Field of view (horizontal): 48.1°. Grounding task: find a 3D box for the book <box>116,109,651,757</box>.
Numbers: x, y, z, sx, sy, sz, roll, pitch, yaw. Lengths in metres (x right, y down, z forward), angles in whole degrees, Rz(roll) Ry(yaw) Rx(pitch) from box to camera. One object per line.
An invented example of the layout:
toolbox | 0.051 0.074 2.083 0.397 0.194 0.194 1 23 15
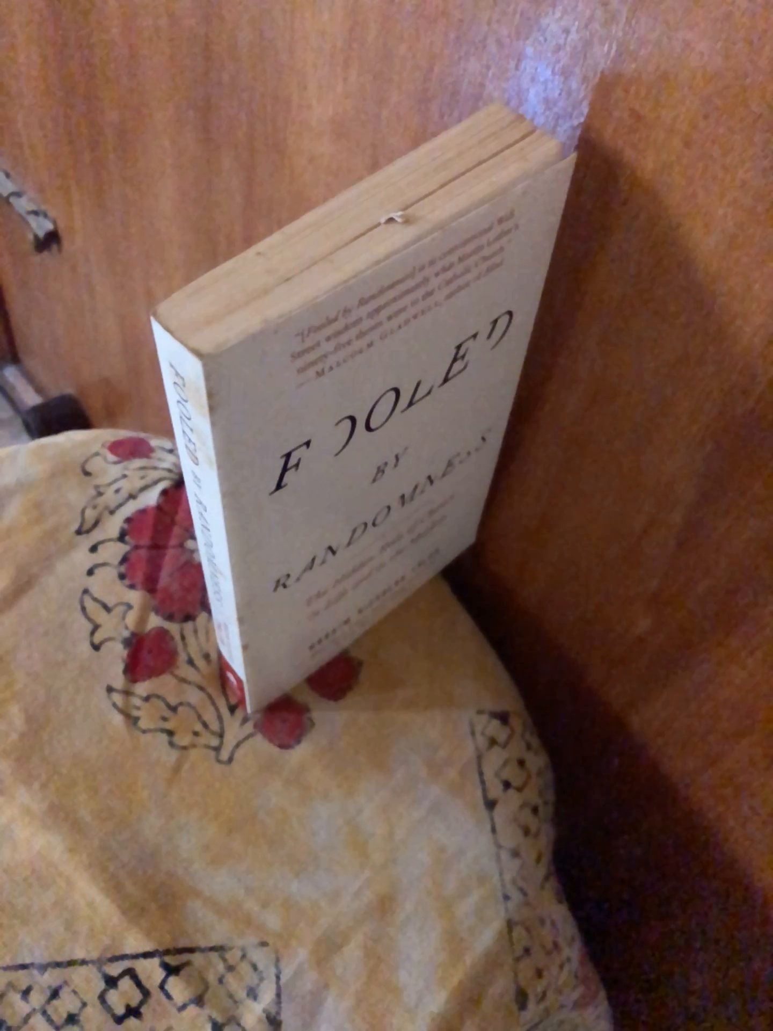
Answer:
book | -0.007 -0.019 0.305 0.160 0.199 0.040 -34 66 -32
